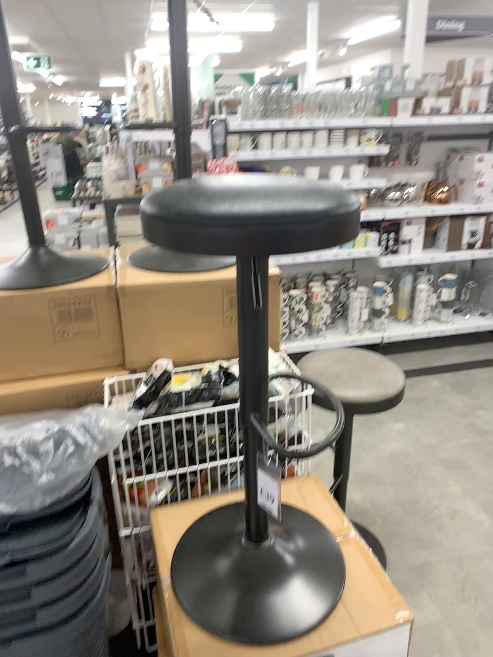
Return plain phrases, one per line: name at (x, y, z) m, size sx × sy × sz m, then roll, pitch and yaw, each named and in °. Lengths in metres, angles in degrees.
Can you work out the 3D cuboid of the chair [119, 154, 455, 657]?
chair at (0.026, 0.122, 0.911) m, size 0.407 × 0.794 × 0.399 m, roll -7°, pitch 22°, yaw -13°
